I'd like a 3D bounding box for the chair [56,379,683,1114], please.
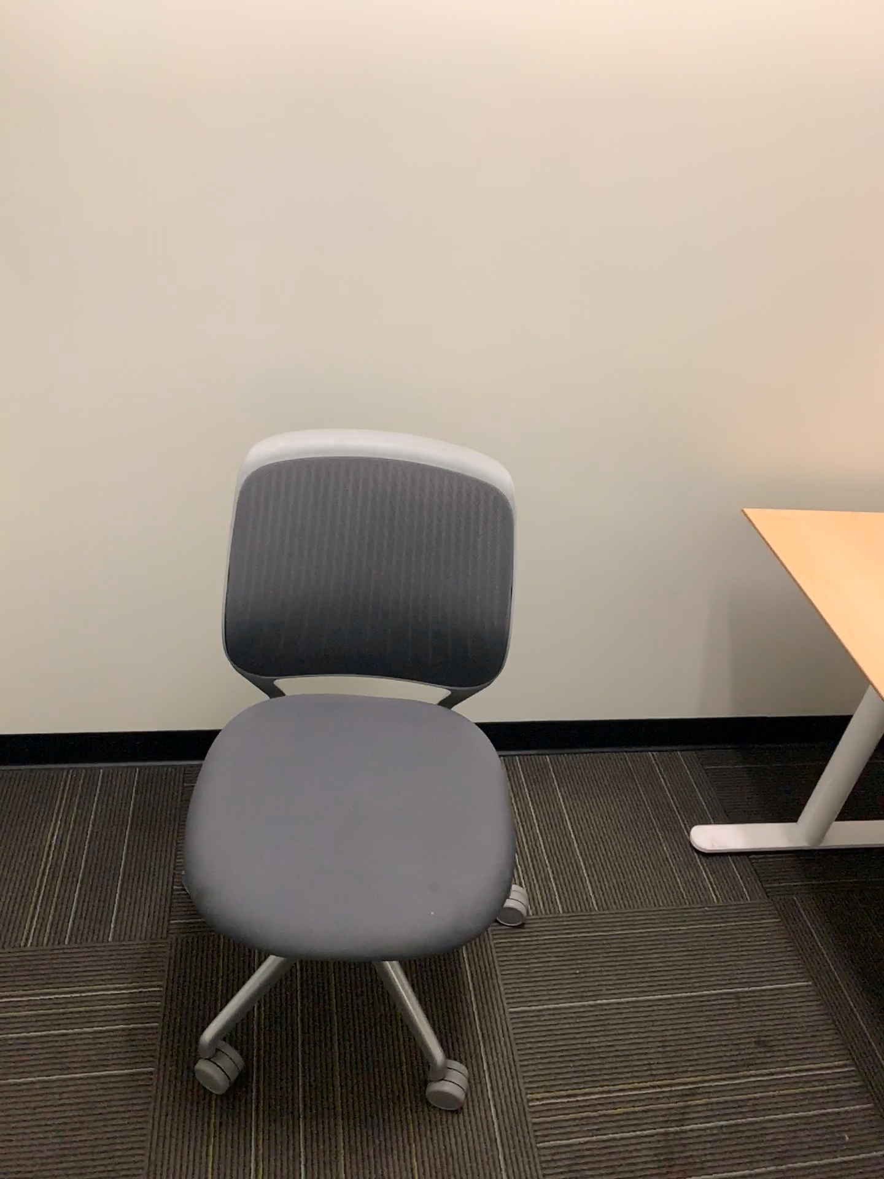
[{"bbox_3d":[-0.120,0.251,1.655,0.720,0.885,0.905,6,36,-3],"label":"chair"}]
